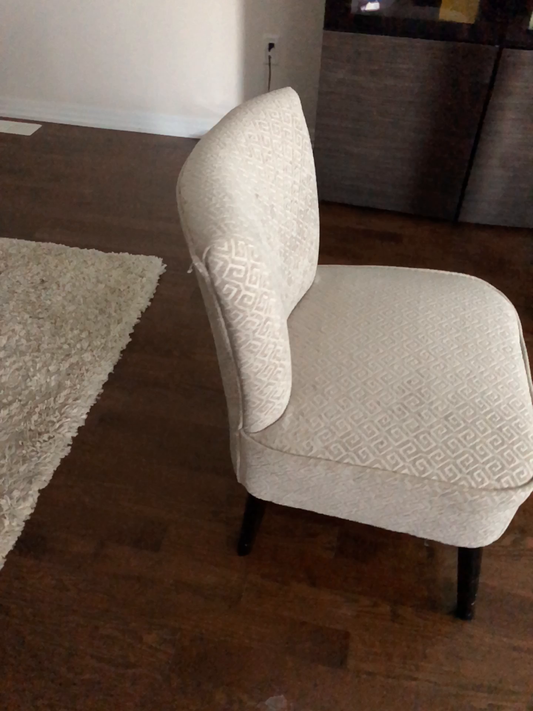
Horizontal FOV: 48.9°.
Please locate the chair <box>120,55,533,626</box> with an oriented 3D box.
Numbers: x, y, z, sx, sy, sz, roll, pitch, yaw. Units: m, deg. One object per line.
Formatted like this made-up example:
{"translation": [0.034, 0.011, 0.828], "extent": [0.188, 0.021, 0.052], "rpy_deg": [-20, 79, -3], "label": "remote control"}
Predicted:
{"translation": [0.195, -0.021, 1.101], "extent": [0.640, 0.797, 0.602], "rpy_deg": [7, 43, 6], "label": "chair"}
